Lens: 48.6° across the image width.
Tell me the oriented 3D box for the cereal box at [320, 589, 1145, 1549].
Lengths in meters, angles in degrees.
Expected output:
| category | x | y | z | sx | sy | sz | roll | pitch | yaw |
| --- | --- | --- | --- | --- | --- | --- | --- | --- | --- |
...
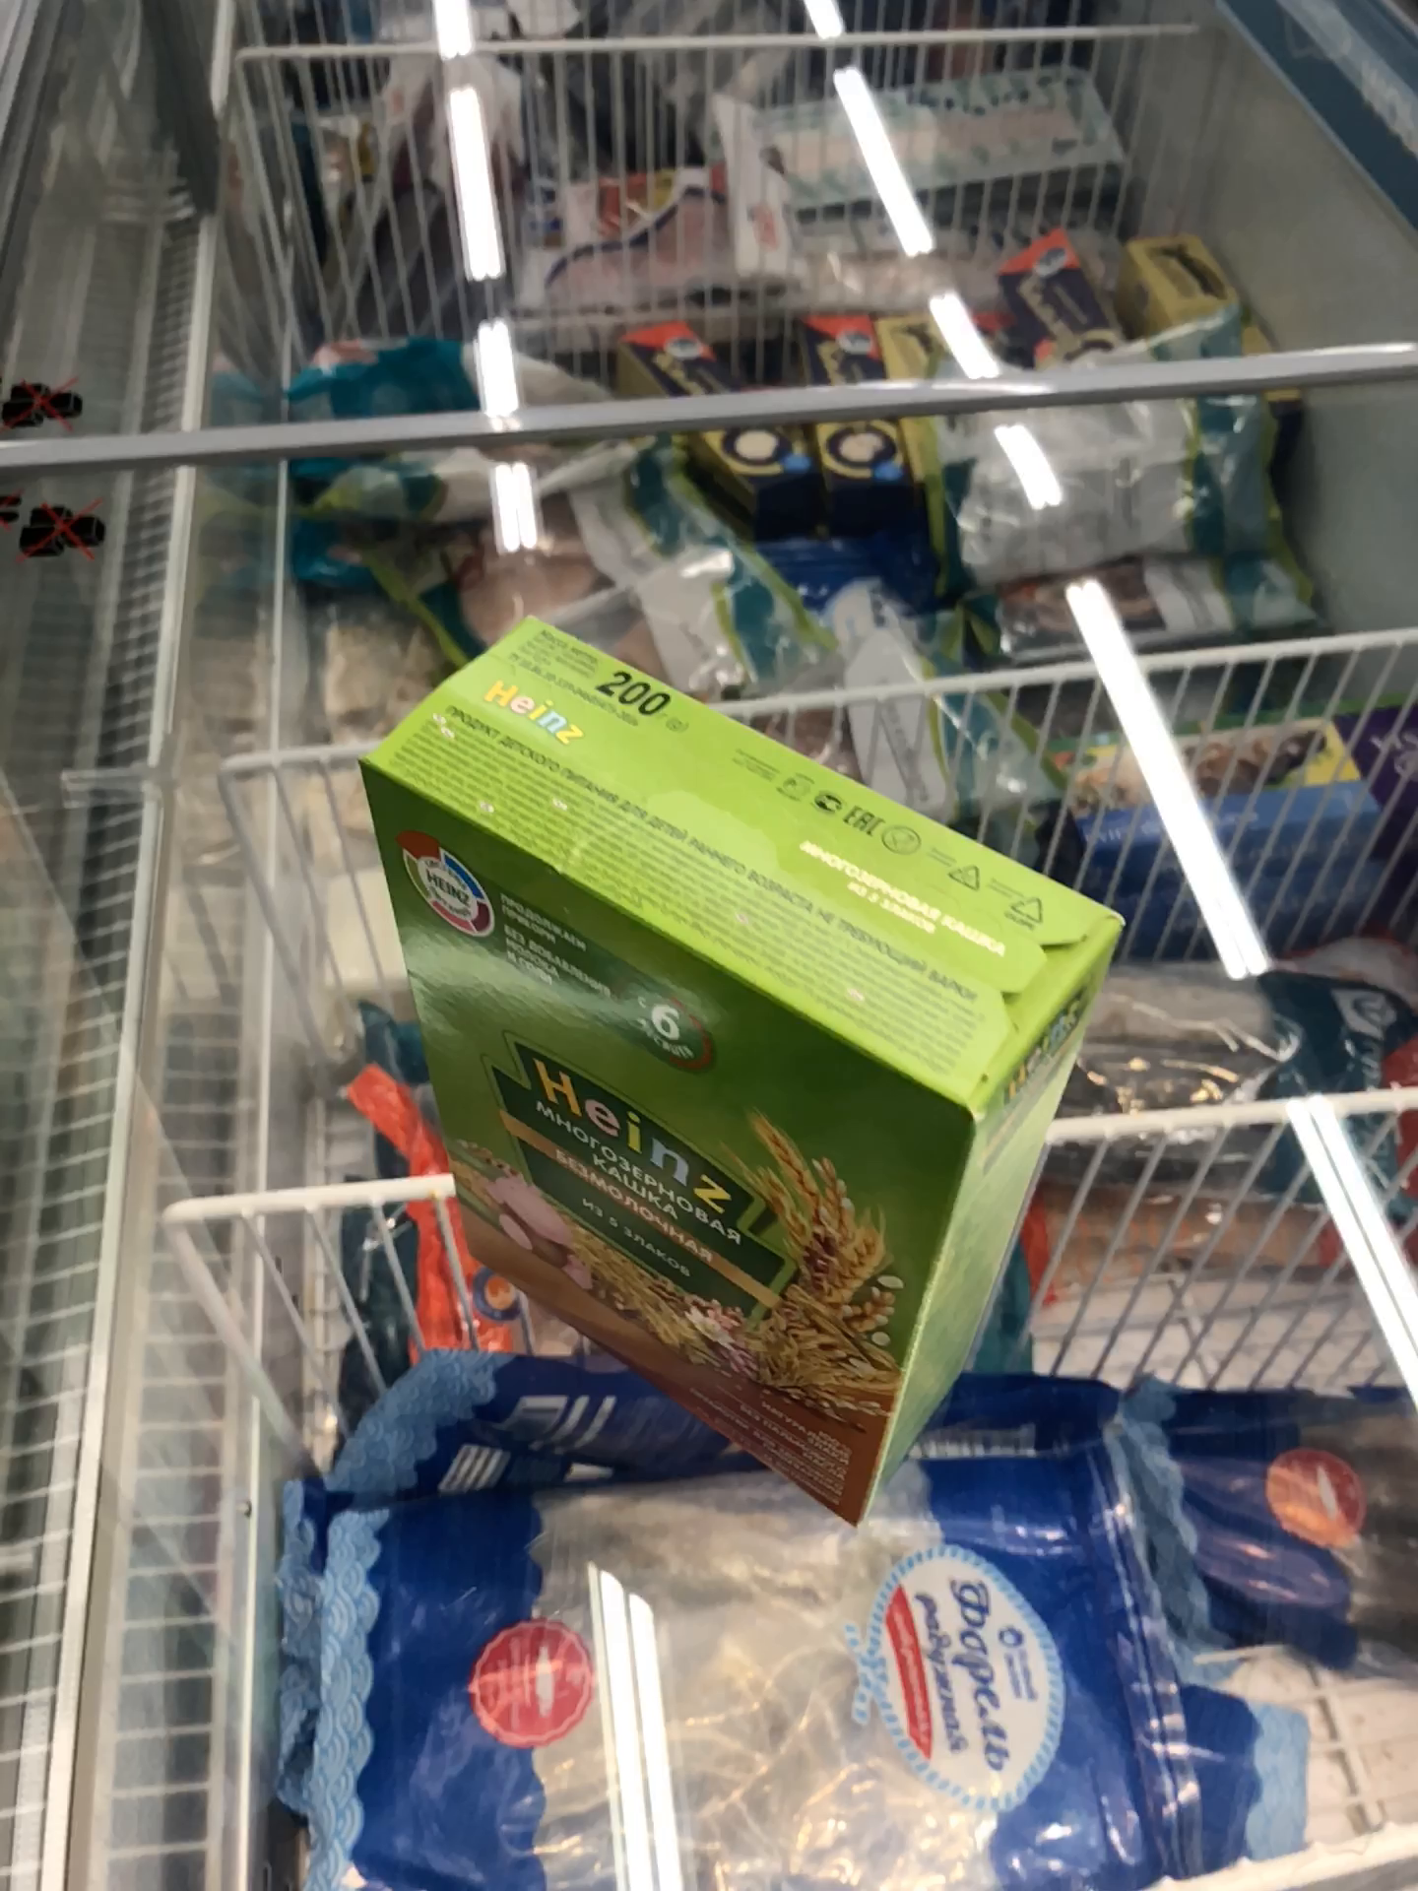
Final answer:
| category | x | y | z | sx | sy | sz | roll | pitch | yaw |
| --- | --- | --- | --- | --- | --- | --- | --- | --- | --- |
| cereal box | -0.001 | 0.040 | 0.350 | 0.140 | 0.199 | 0.050 | 30 | 57 | 21 |
